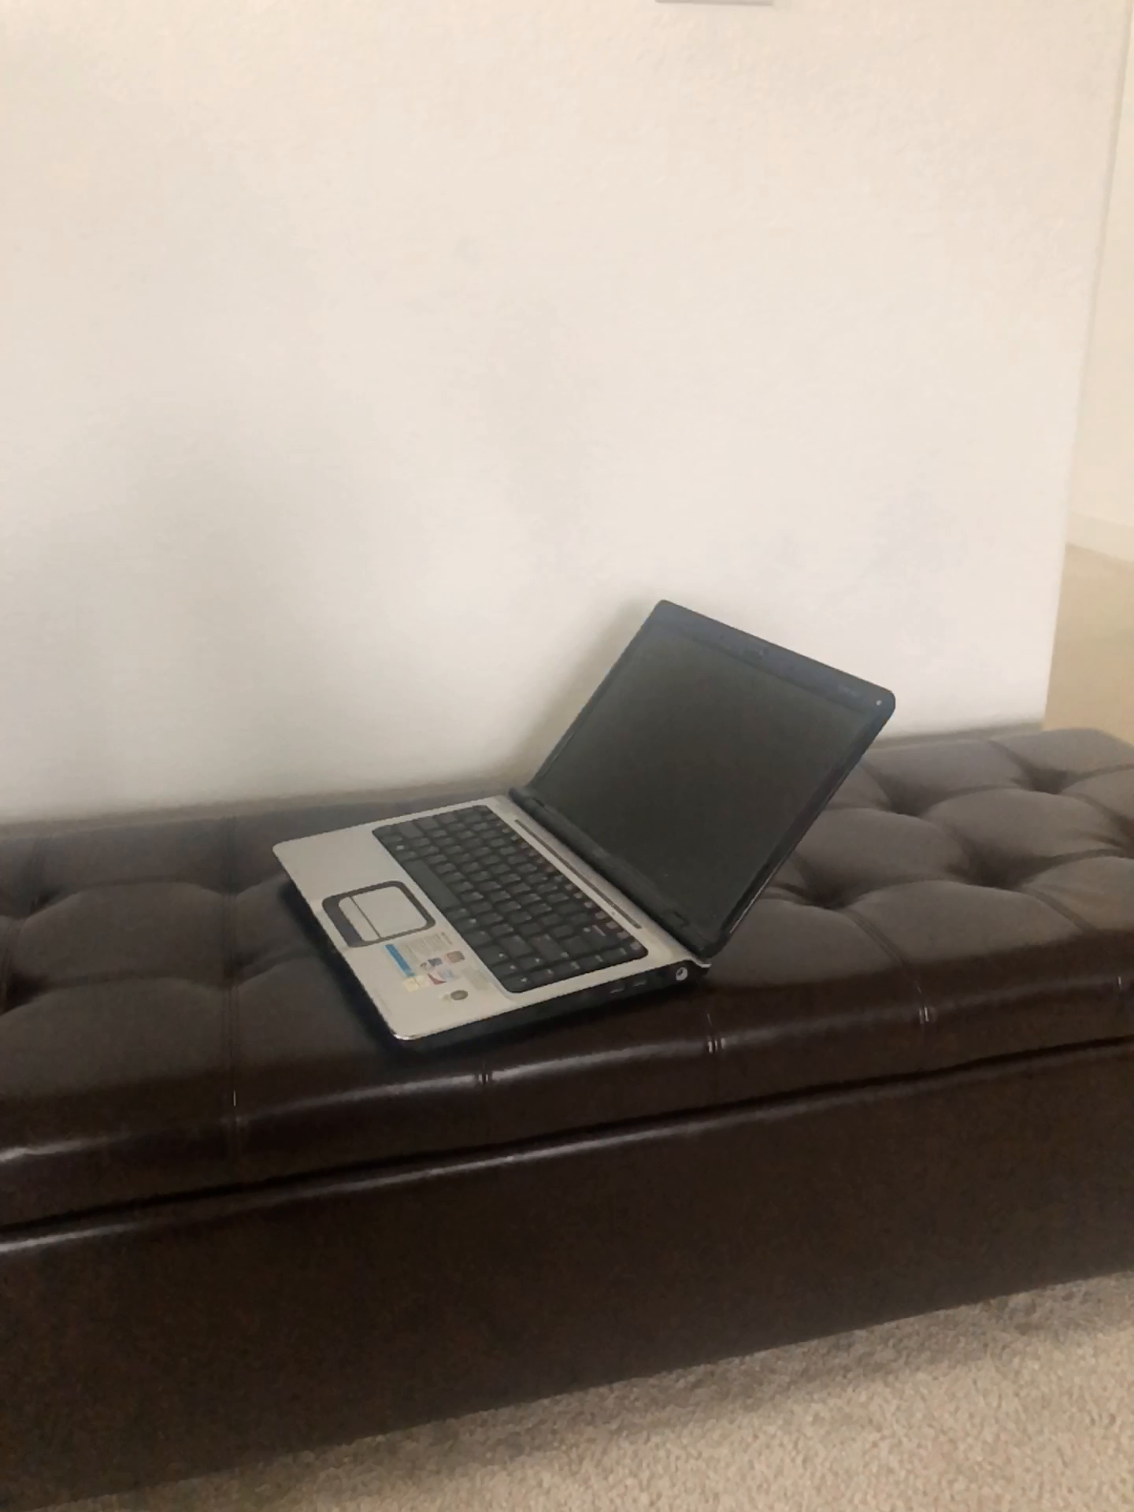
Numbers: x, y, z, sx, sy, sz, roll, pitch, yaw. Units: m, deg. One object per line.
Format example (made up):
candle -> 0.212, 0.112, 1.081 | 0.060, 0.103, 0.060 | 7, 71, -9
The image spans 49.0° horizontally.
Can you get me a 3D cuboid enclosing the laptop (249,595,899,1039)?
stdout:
laptop -> -0.008, 0.013, 0.957 | 0.381, 0.161, 0.327 | -12, 23, -25
